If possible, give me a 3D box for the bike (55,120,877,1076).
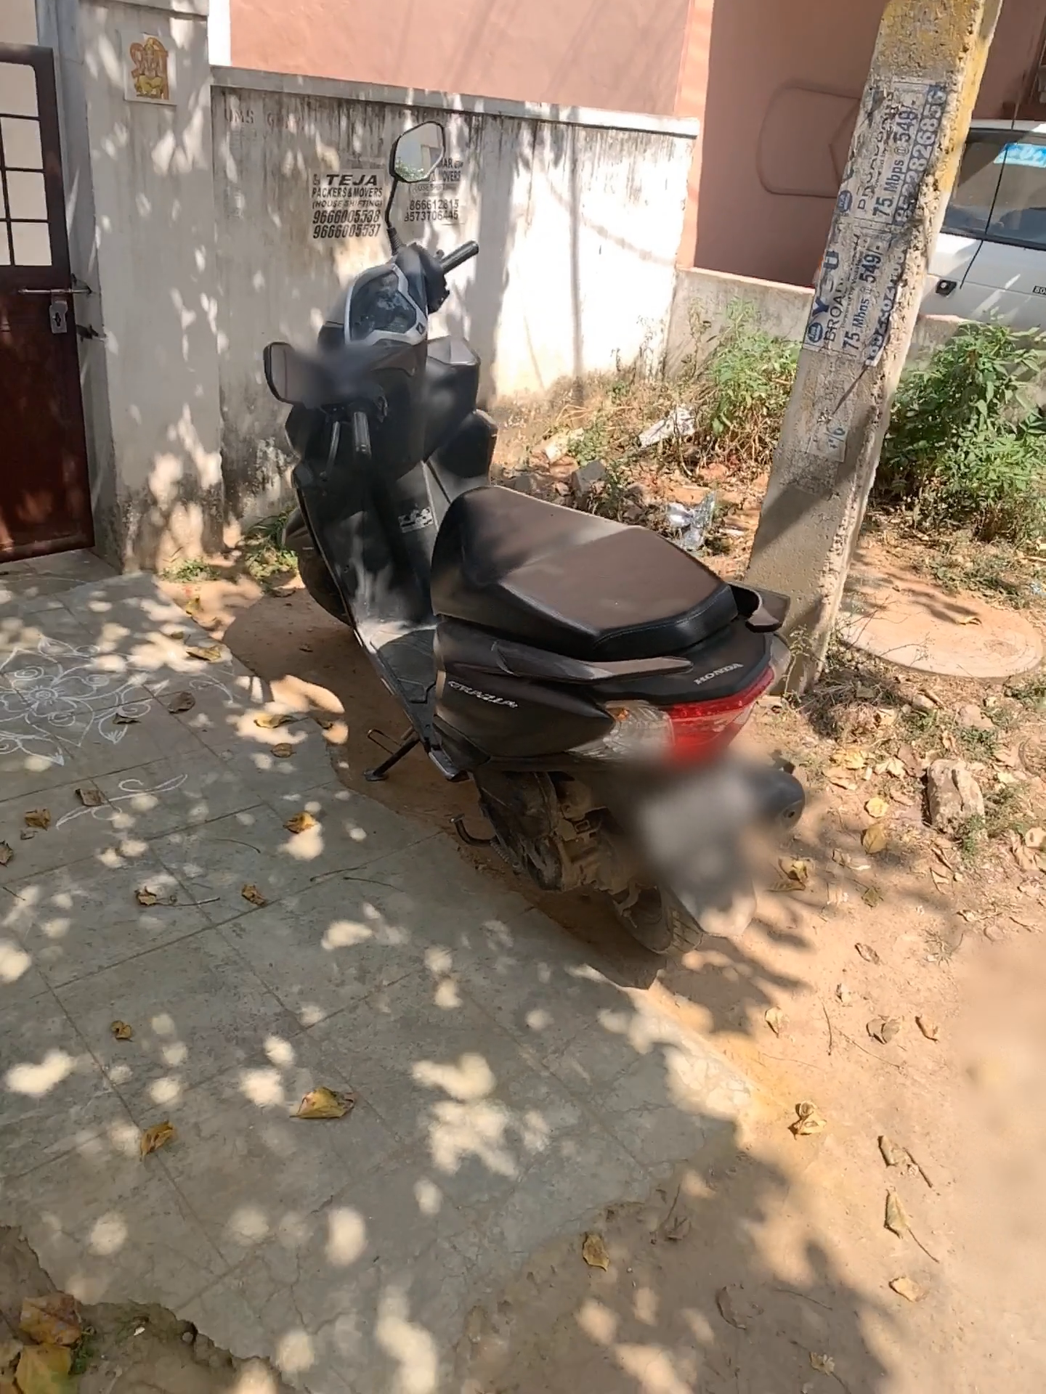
[{"bbox_3d":[-0.276,-0.321,2.114,0.607,1.177,1.512,-15,37,-36],"label":"bike"}]
